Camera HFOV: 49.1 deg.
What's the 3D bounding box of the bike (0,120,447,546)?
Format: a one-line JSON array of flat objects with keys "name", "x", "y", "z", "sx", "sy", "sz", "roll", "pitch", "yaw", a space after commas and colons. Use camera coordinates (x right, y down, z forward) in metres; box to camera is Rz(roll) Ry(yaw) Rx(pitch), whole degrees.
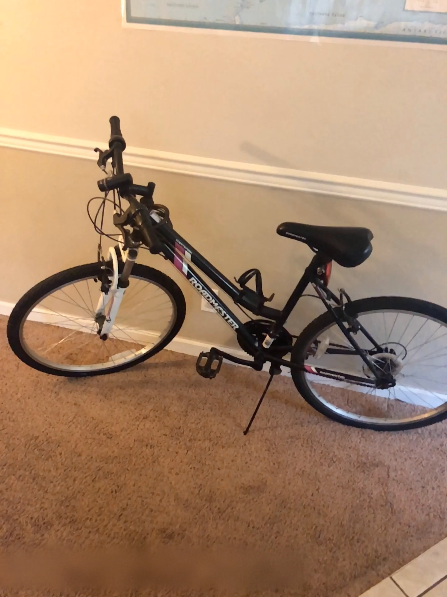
[{"name": "bike", "x": 0.072, "y": 0.097, "z": 1.776, "sx": 1.864, "sy": 1.177, "sz": 0.683, "roll": 6, "pitch": 29, "yaw": 3}]
